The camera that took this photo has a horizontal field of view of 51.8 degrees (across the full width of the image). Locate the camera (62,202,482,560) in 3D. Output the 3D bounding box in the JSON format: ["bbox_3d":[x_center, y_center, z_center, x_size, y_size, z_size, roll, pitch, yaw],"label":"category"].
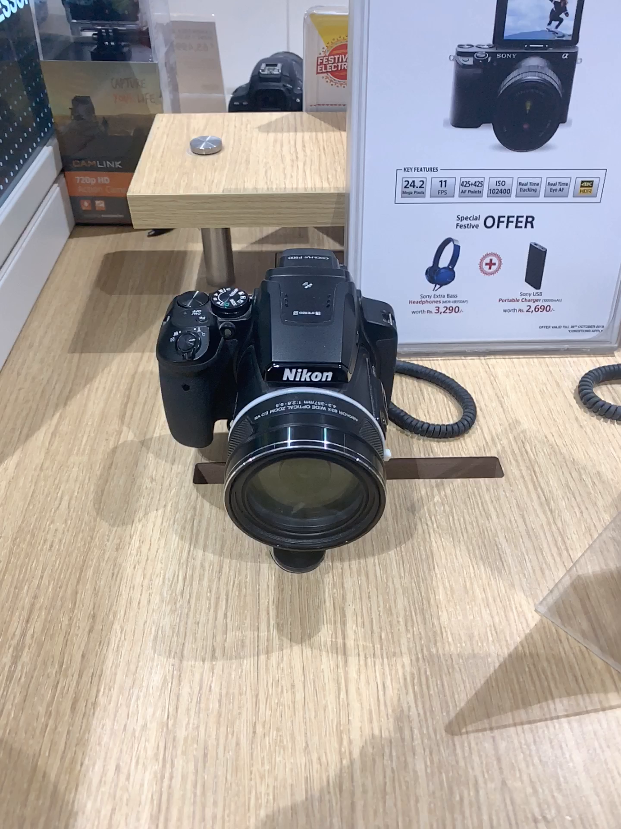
[{"bbox_3d":[-0.015,-0.023,0.299,0.140,0.090,0.151,-1,43,-1],"label":"camera"}]
